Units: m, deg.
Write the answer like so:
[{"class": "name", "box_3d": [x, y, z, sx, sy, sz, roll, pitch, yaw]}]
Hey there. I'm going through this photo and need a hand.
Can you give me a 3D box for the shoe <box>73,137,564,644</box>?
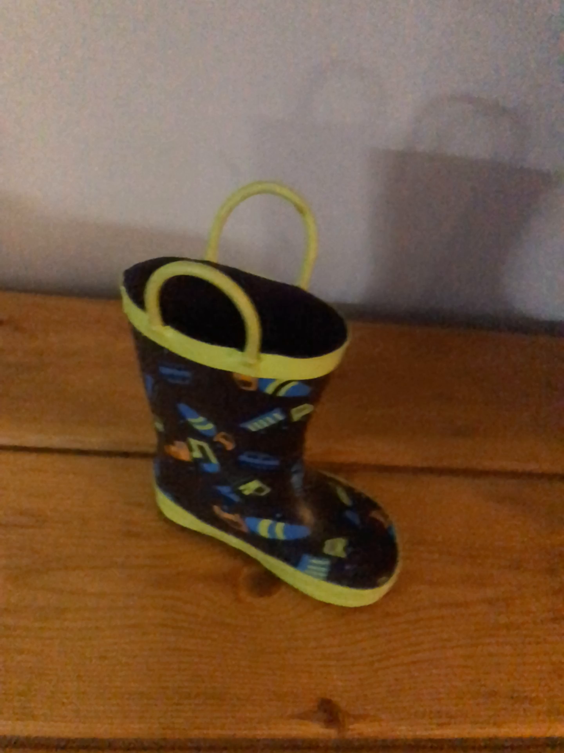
[{"class": "shoe", "box_3d": [0.005, 0.020, 0.308, 0.170, 0.199, 0.080, 23, 49, 10]}]
